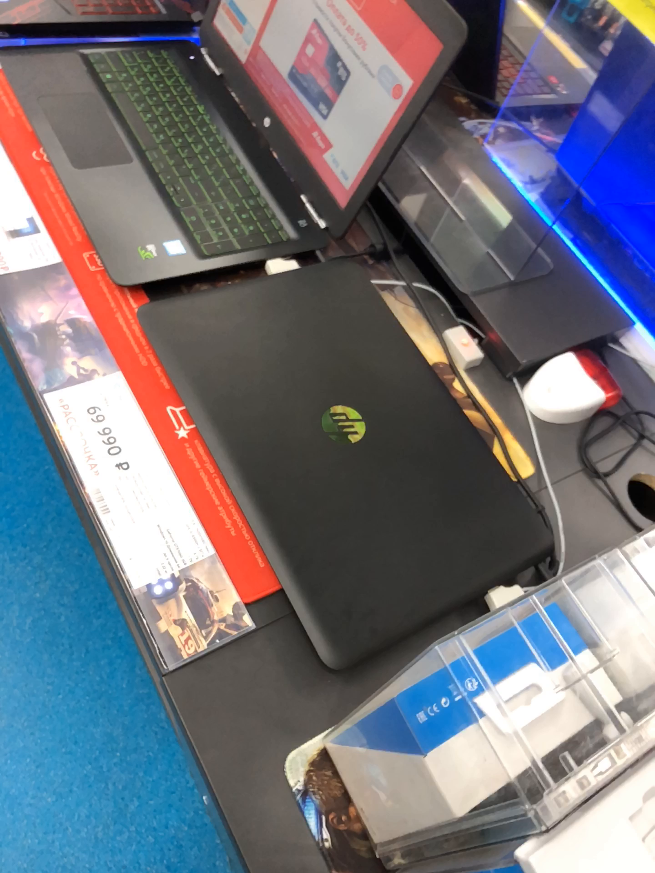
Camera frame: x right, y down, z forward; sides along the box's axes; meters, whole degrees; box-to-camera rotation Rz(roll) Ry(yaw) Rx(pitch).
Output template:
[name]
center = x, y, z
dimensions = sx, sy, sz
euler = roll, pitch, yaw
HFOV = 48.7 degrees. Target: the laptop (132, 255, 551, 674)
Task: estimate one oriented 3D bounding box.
[laptop]
center = 0.008, -0.009, 0.661
dimensions = 0.240, 0.006, 0.372
euler = -20, 66, -27
